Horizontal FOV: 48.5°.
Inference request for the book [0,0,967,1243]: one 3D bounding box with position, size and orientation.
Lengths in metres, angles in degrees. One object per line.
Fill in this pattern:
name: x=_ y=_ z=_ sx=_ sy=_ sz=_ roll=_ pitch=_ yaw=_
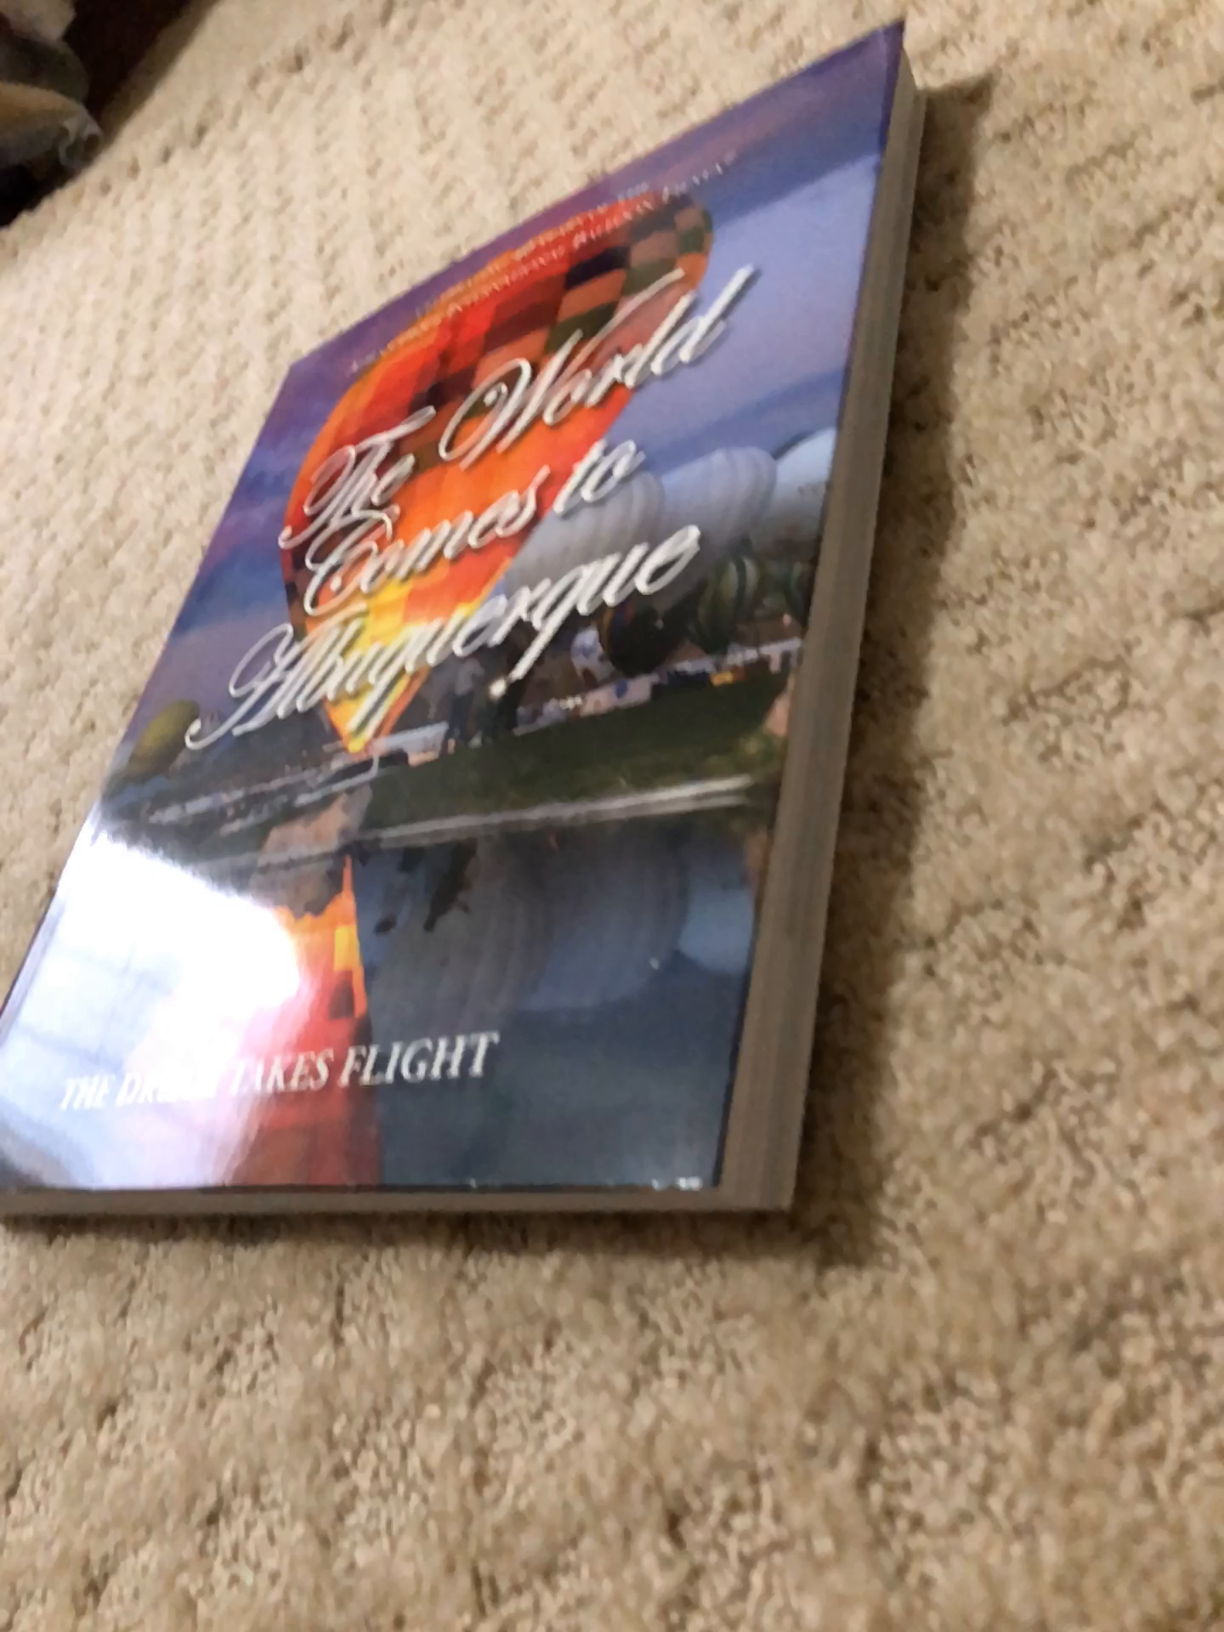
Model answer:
book: x=-0.034 y=-0.044 z=0.290 sx=0.204 sy=0.023 sz=0.258 roll=-12 pitch=51 yaw=37
